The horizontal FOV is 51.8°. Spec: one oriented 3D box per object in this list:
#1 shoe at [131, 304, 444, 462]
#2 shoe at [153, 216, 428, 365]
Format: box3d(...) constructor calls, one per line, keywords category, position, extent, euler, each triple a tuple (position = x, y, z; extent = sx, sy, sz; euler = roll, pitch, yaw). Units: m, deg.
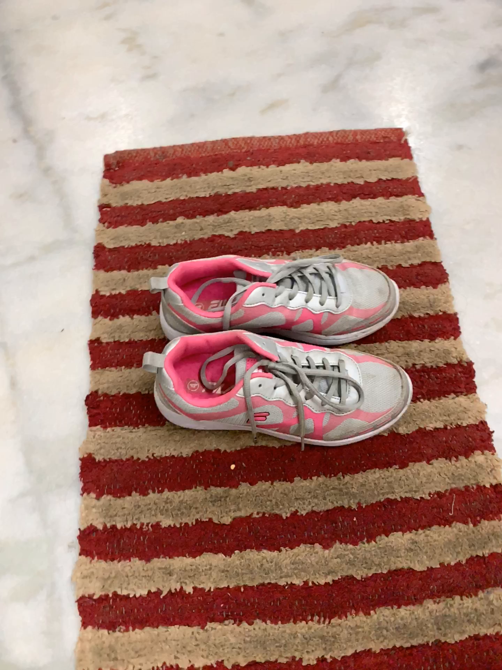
box3d(category="shoe", position=(0.029, 0.044, 0.446), extent=(0.230, 0.100, 0.100), euler=(2, 66, 3))
box3d(category="shoe", position=(0.032, -0.039, 0.495), extent=(0.230, 0.100, 0.090), euler=(-4, 66, 1))
